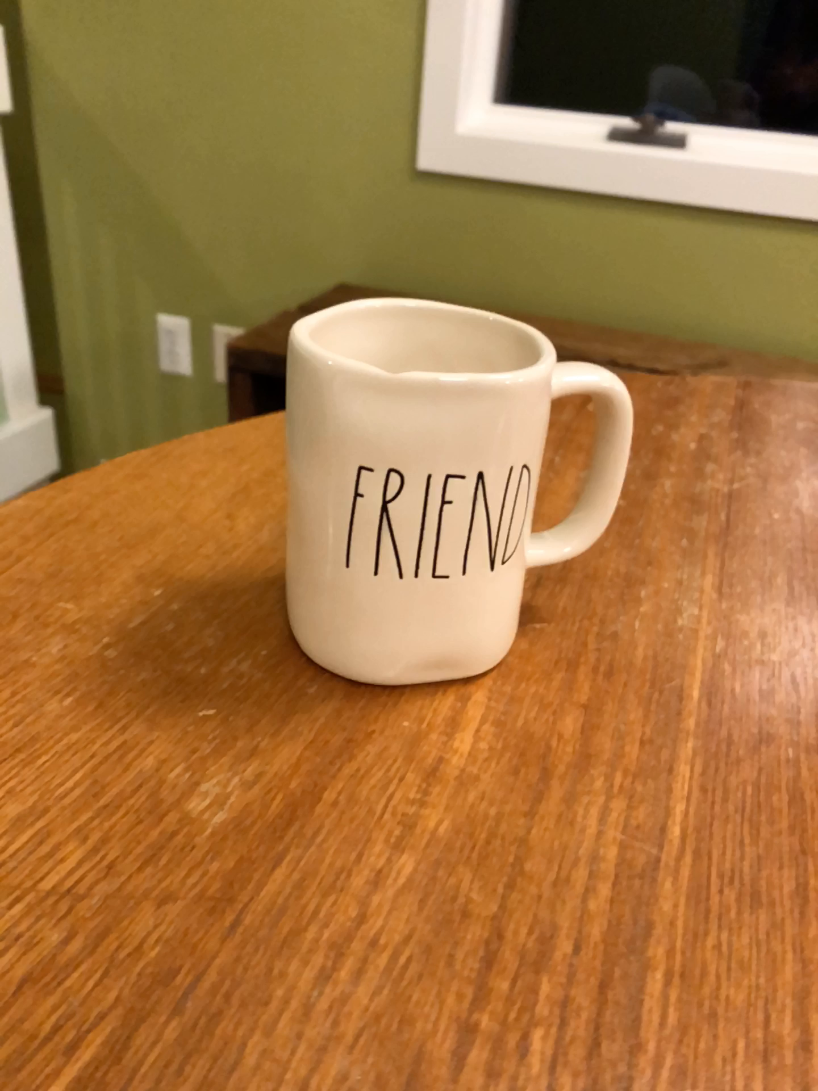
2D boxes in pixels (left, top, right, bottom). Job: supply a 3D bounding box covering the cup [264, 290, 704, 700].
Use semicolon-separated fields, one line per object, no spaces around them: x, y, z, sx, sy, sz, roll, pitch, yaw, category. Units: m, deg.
0.017;-0.024;0.328;0.125;0.114;0.084;-5;30;-16;cup
